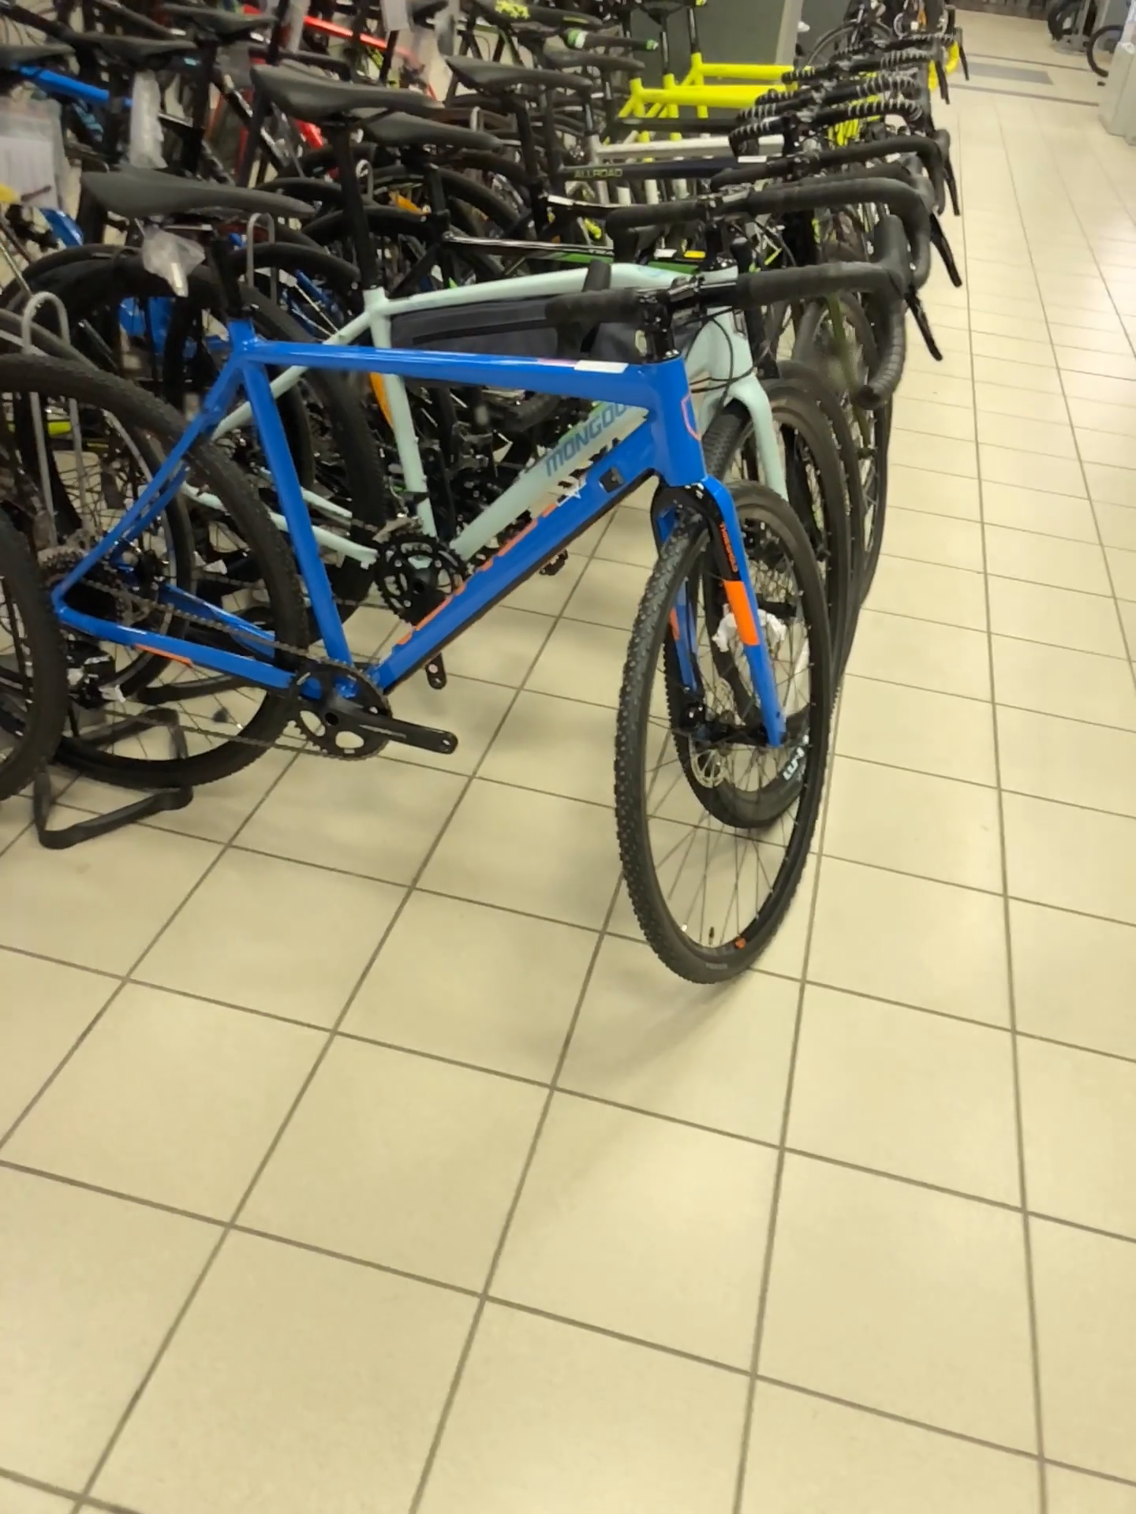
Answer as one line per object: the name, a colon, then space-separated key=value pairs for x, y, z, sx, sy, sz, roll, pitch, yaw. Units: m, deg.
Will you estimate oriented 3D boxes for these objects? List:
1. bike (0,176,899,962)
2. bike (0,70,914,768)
bike: x=-0.287 y=-0.263 z=1.948 sx=1.469 sy=0.805 sz=0.528 roll=10 pitch=35 yaw=-5
bike: x=-0.203 y=-0.574 z=2.158 sx=1.421 sy=0.870 sz=0.619 roll=6 pitch=35 yaw=-2
